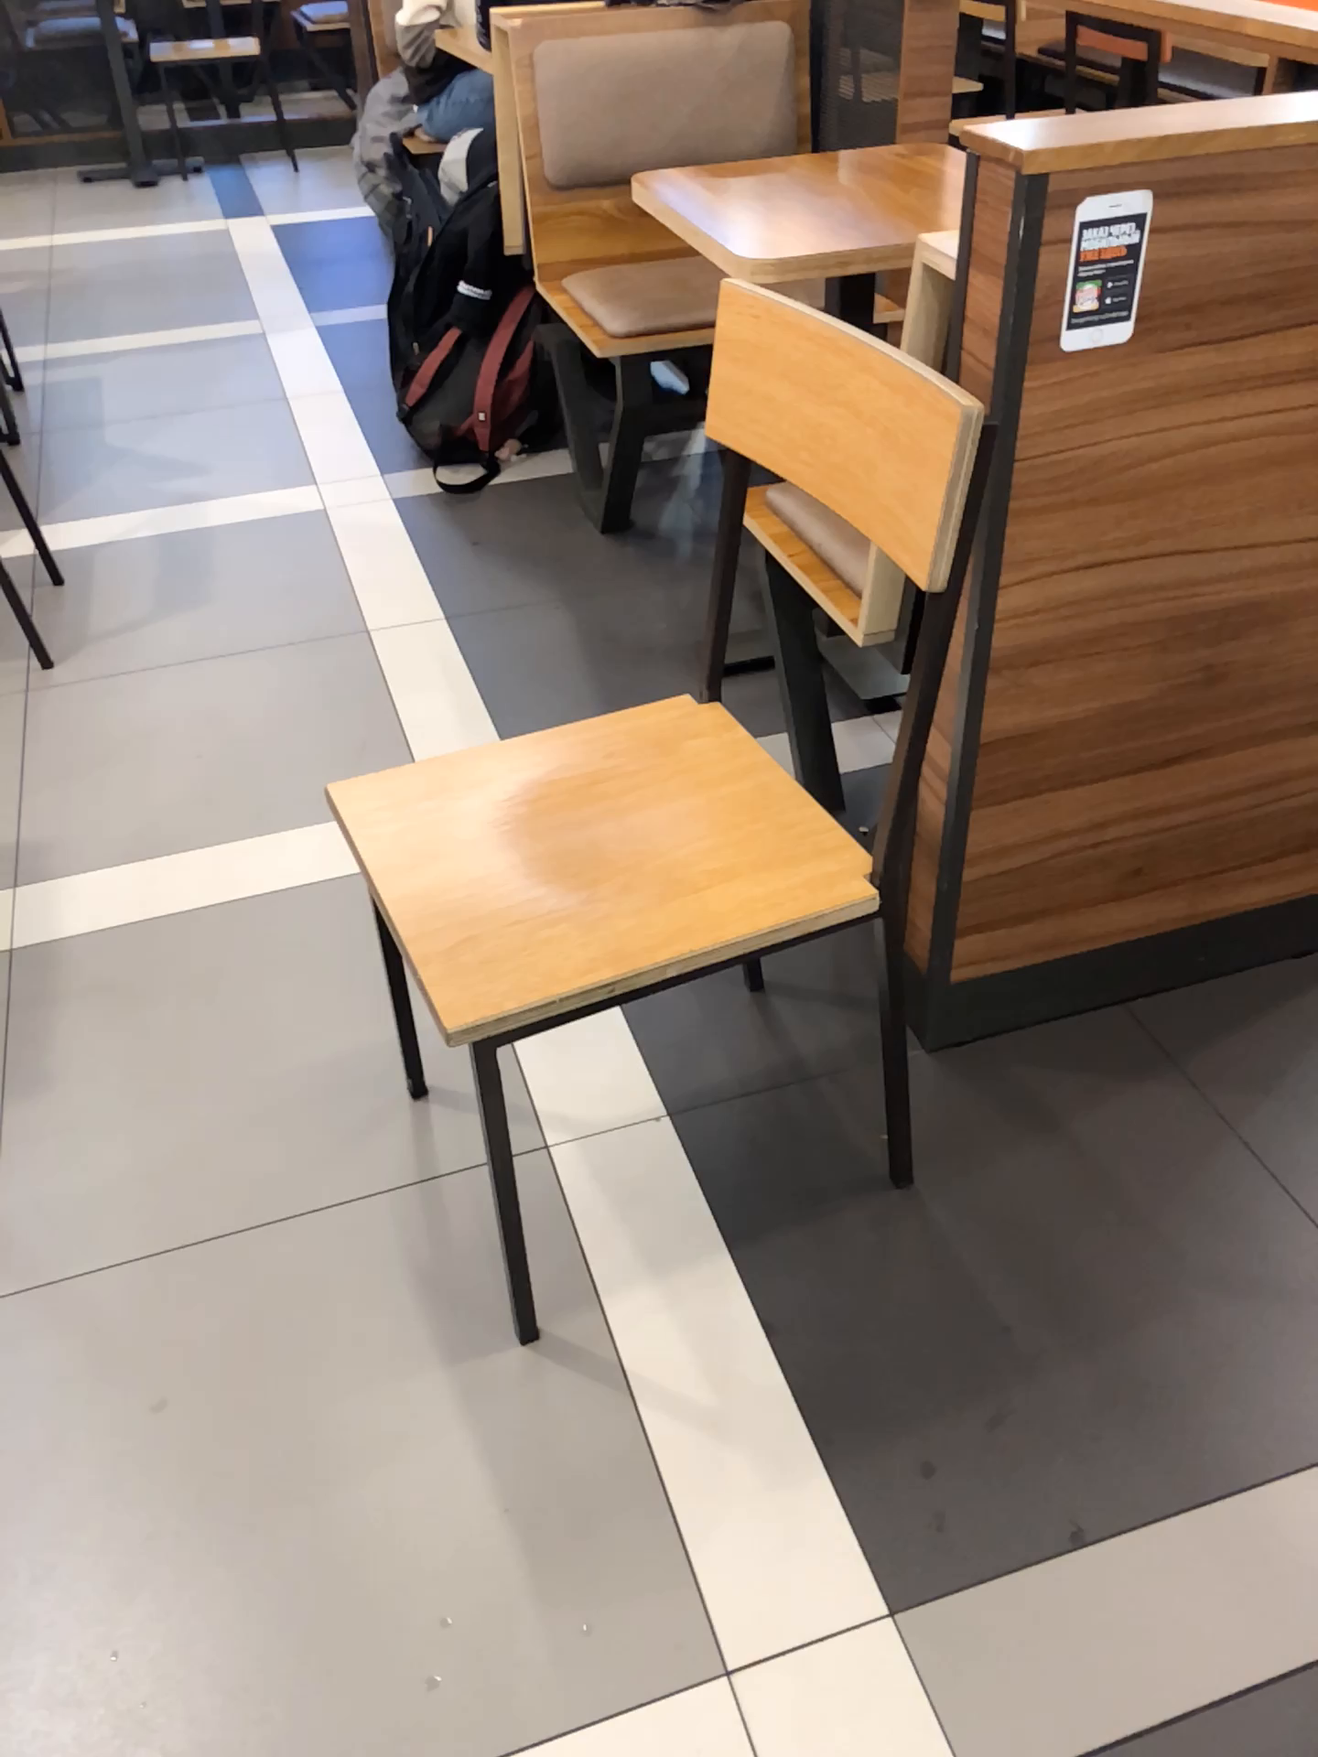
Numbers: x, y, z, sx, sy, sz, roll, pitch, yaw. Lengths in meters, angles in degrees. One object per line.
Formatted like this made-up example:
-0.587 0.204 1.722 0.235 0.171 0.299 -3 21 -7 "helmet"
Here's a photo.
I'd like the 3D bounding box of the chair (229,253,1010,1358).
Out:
-0.039 -0.062 1.351 0.460 0.845 0.432 -18 39 -20 "chair"
